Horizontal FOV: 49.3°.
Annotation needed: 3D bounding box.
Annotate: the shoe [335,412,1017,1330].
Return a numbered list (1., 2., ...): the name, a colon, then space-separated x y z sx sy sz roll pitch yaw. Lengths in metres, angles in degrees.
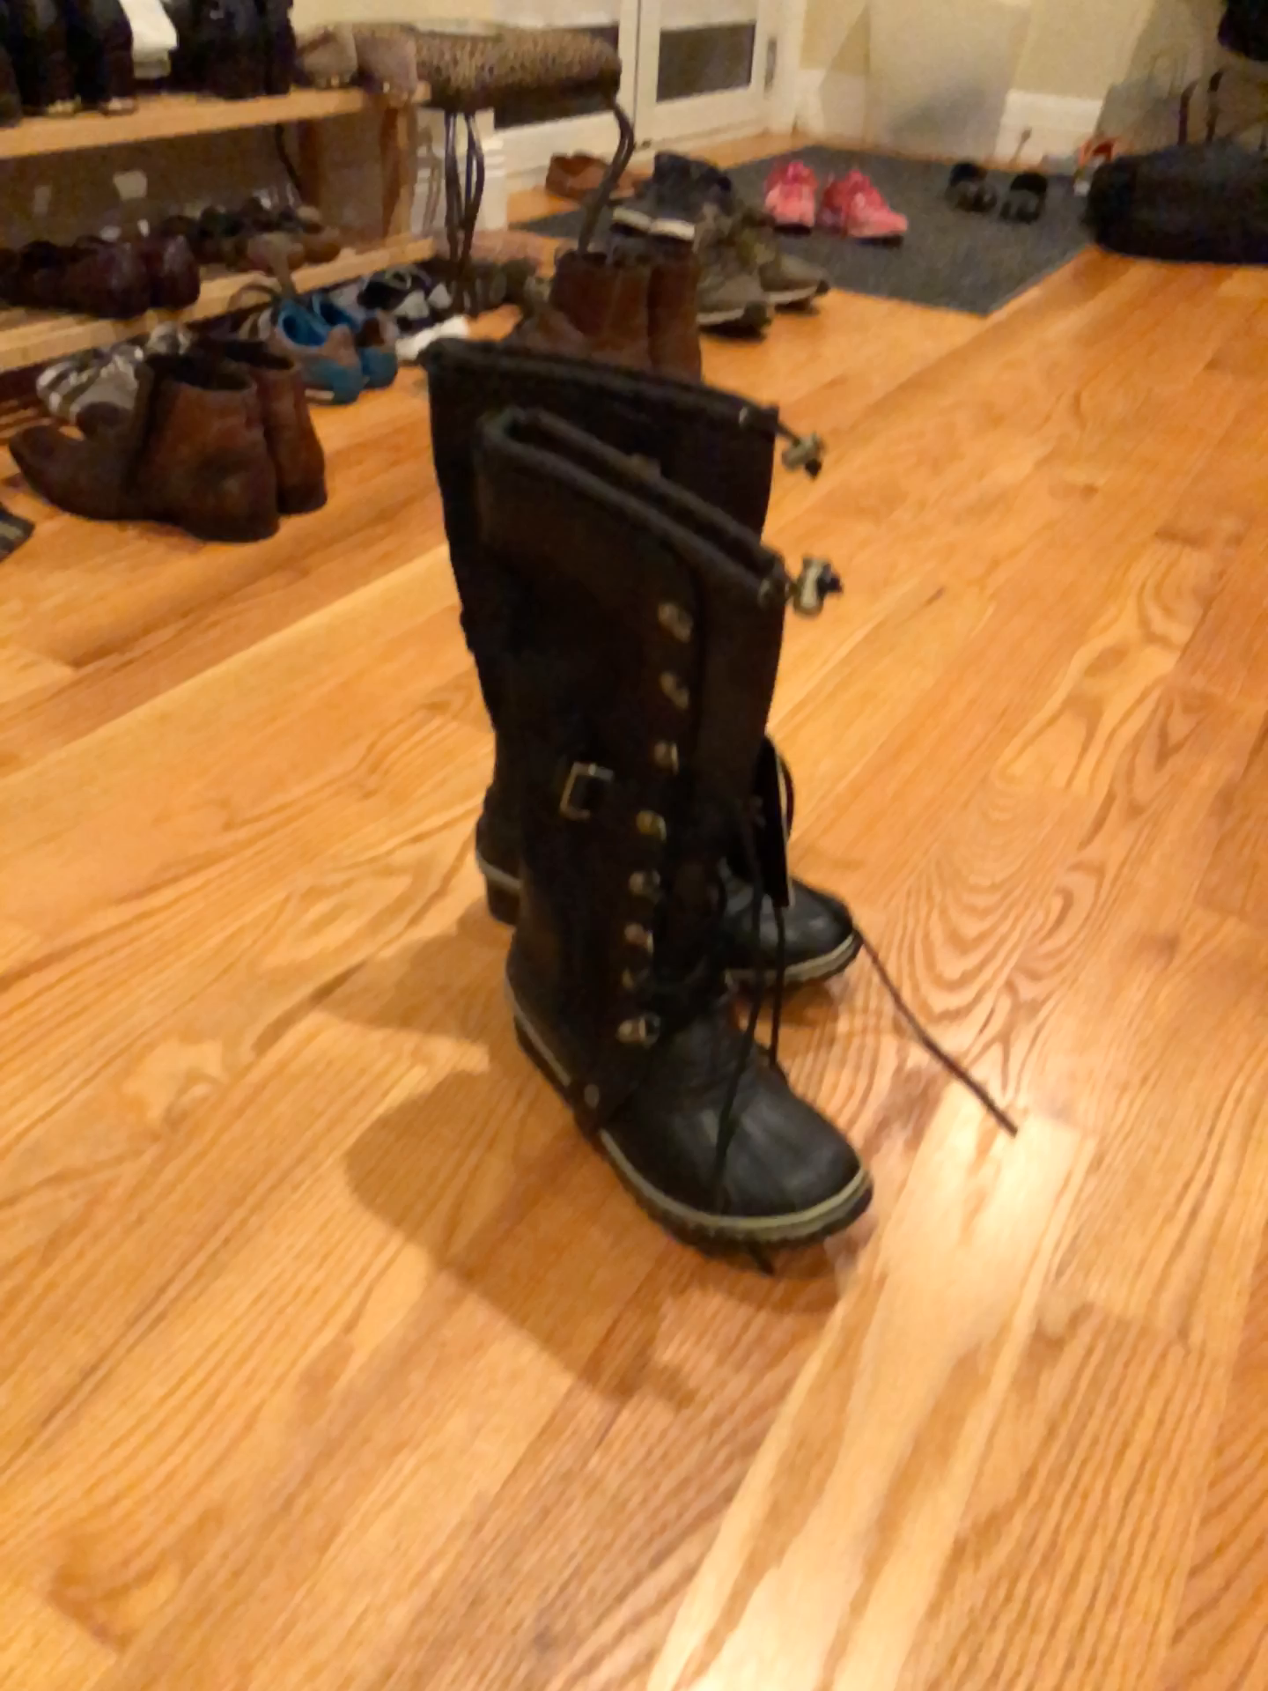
1. shoe: -0.002 0.005 0.608 0.261 0.308 0.100 31 43 34

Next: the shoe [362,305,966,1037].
1. shoe: 0.008 -0.086 0.725 0.260 0.328 0.101 12 35 13
